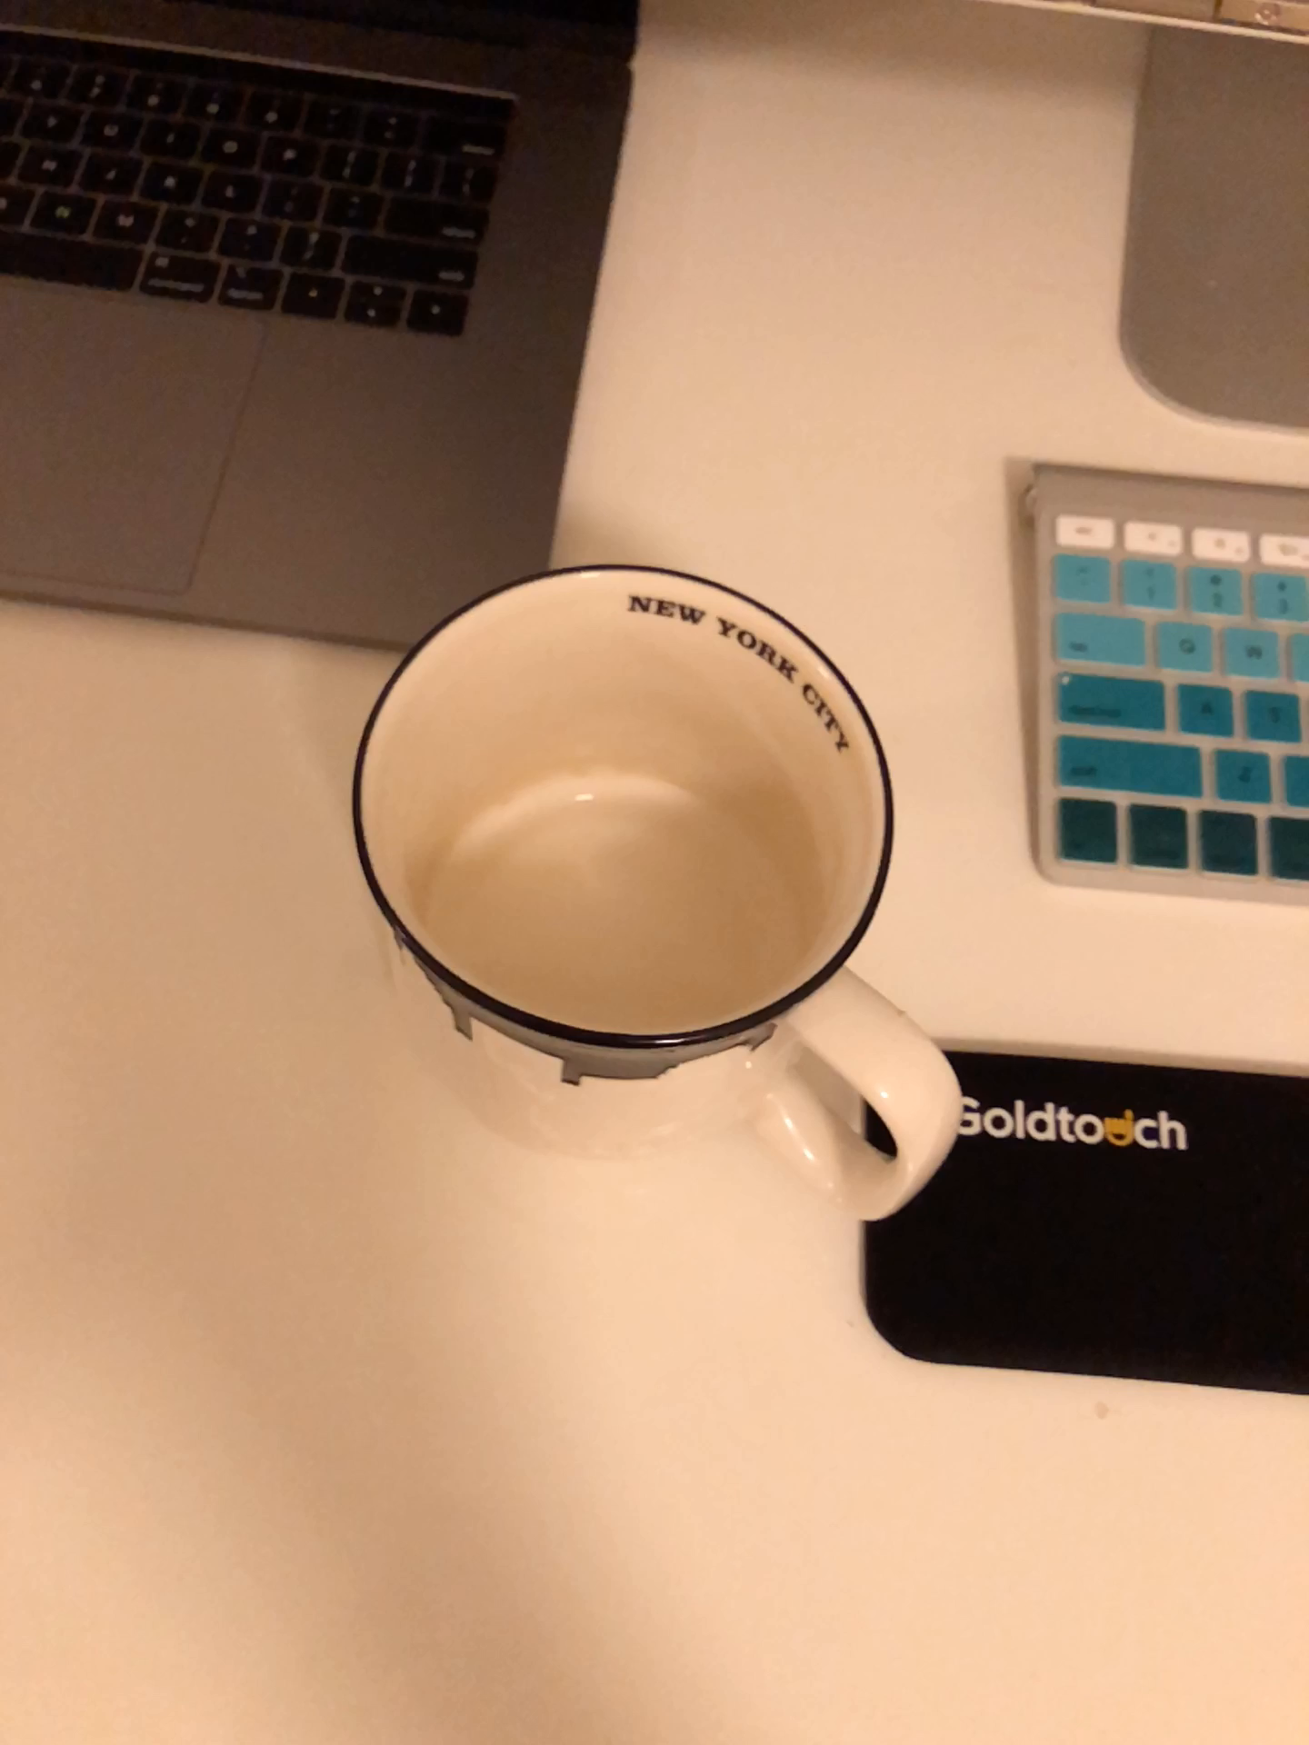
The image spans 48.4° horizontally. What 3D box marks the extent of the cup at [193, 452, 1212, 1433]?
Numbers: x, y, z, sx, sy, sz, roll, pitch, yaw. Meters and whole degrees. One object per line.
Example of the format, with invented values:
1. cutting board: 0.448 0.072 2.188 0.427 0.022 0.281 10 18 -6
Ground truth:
1. cup: 0.006 0.016 0.304 0.150 0.090 0.110 43 70 14
